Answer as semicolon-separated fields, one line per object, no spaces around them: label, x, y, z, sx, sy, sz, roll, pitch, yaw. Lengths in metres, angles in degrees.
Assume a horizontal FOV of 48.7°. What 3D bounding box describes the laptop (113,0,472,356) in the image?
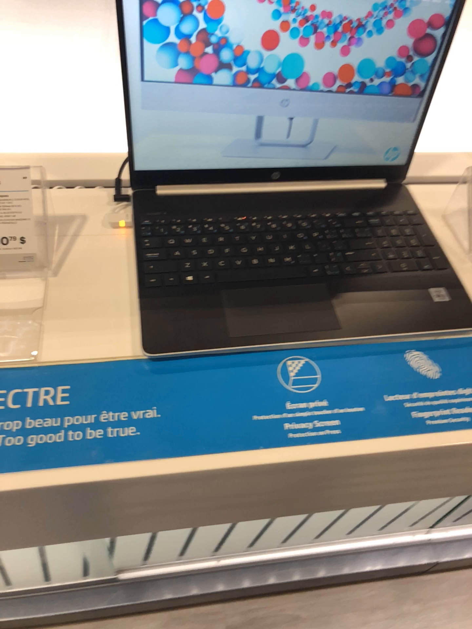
laptop;0.072;-0.155;0.512;0.355;0.221;0.284;-4;53;-10
